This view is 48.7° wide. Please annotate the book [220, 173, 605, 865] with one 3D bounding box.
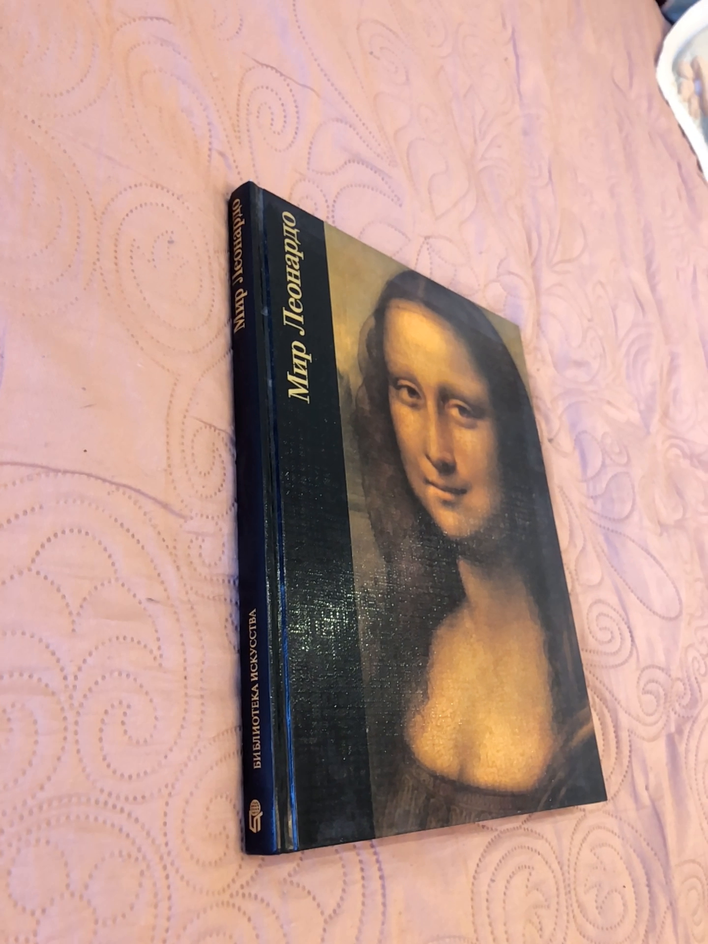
[{"bbox_3d":[0.032,0.022,0.378,0.211,0.030,0.273,15,63,-43],"label":"book"}]
